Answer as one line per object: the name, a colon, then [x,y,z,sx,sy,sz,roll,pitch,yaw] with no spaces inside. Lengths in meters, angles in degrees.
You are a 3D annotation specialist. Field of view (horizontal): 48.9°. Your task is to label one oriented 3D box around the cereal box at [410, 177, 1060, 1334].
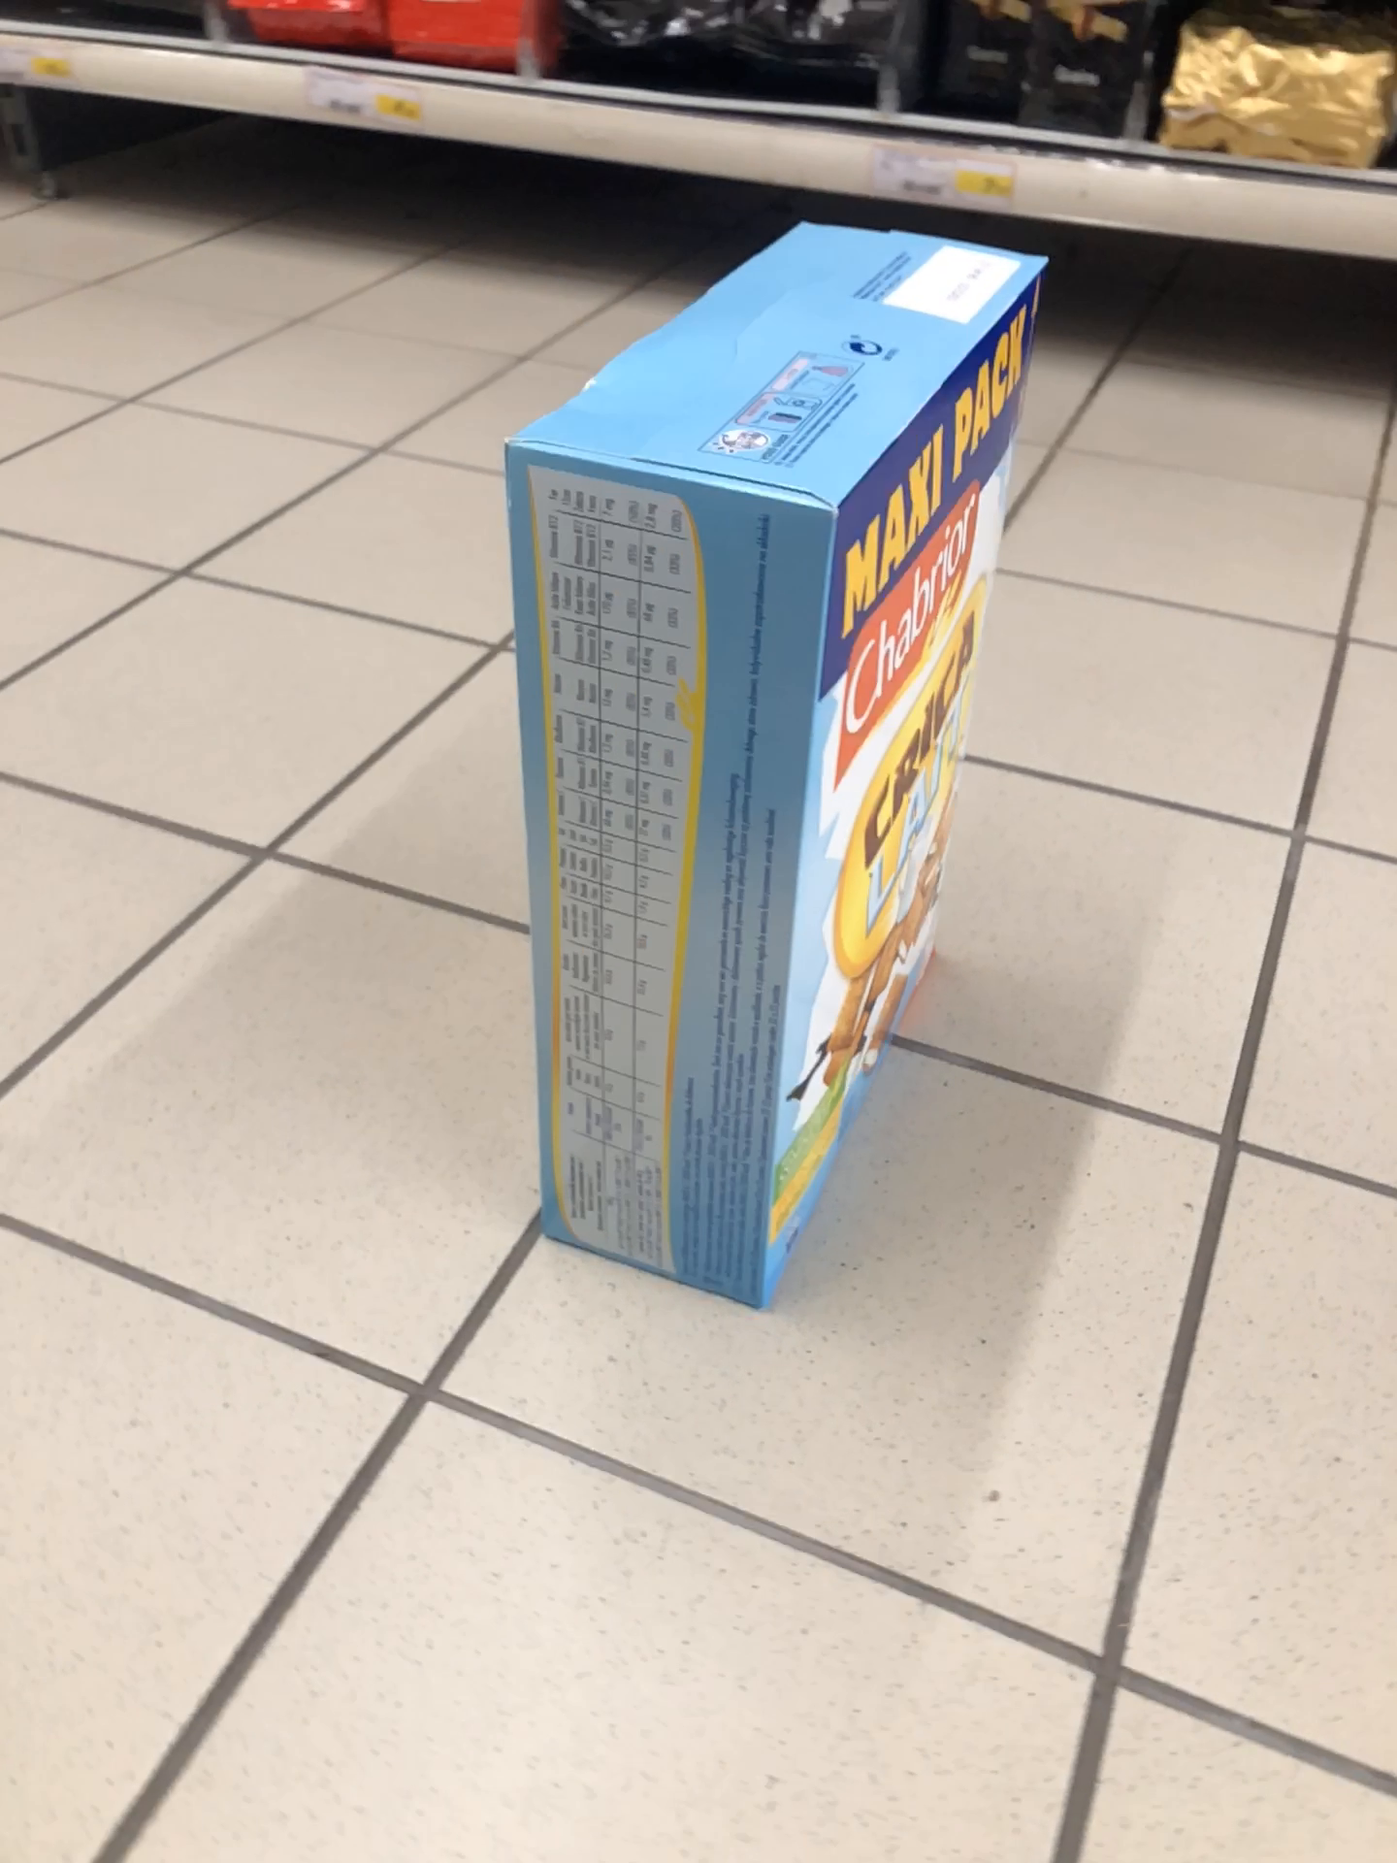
cereal box: [0.018,-0.053,0.461,0.090,0.268,0.201,16,41,17]
